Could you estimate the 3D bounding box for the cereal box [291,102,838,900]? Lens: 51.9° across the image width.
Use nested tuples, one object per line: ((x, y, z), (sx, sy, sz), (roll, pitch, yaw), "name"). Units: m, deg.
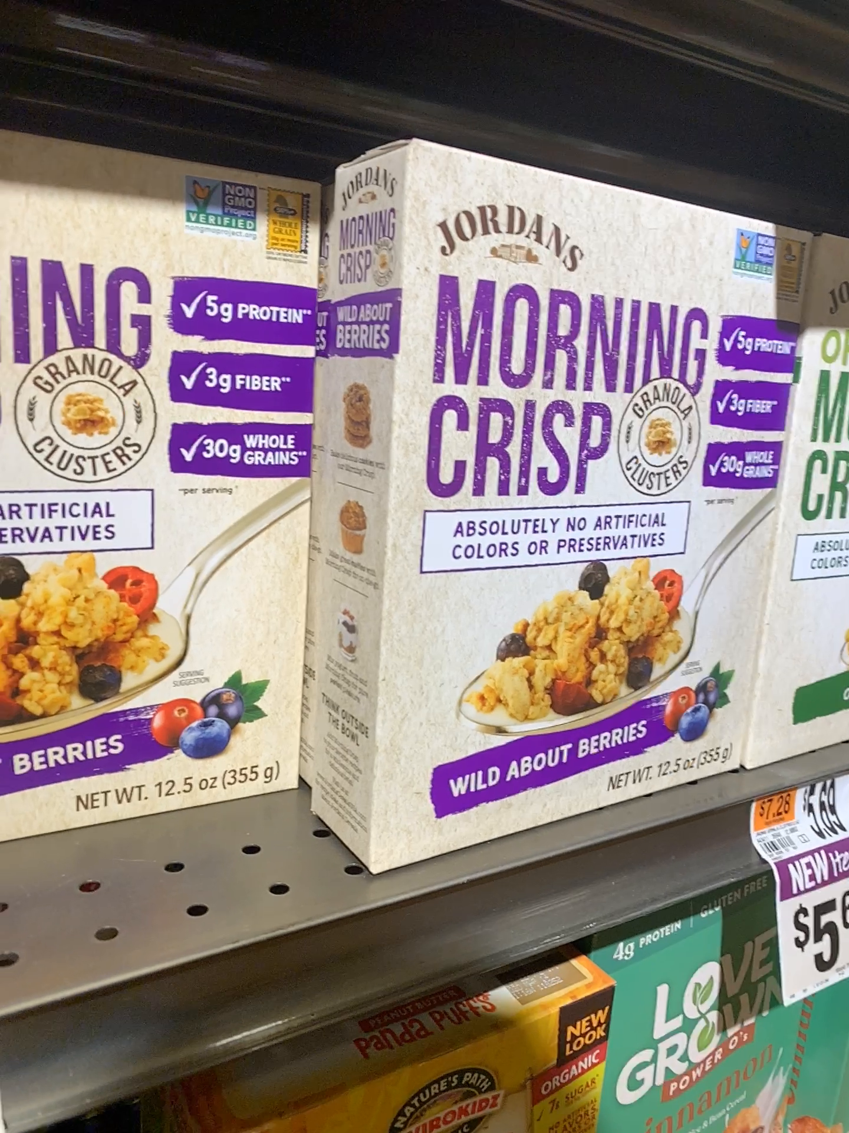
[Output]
((0.050, -0.020, 0.311), (0.180, 0.219, 0.060), (-5, 14, -32), "cereal box")
